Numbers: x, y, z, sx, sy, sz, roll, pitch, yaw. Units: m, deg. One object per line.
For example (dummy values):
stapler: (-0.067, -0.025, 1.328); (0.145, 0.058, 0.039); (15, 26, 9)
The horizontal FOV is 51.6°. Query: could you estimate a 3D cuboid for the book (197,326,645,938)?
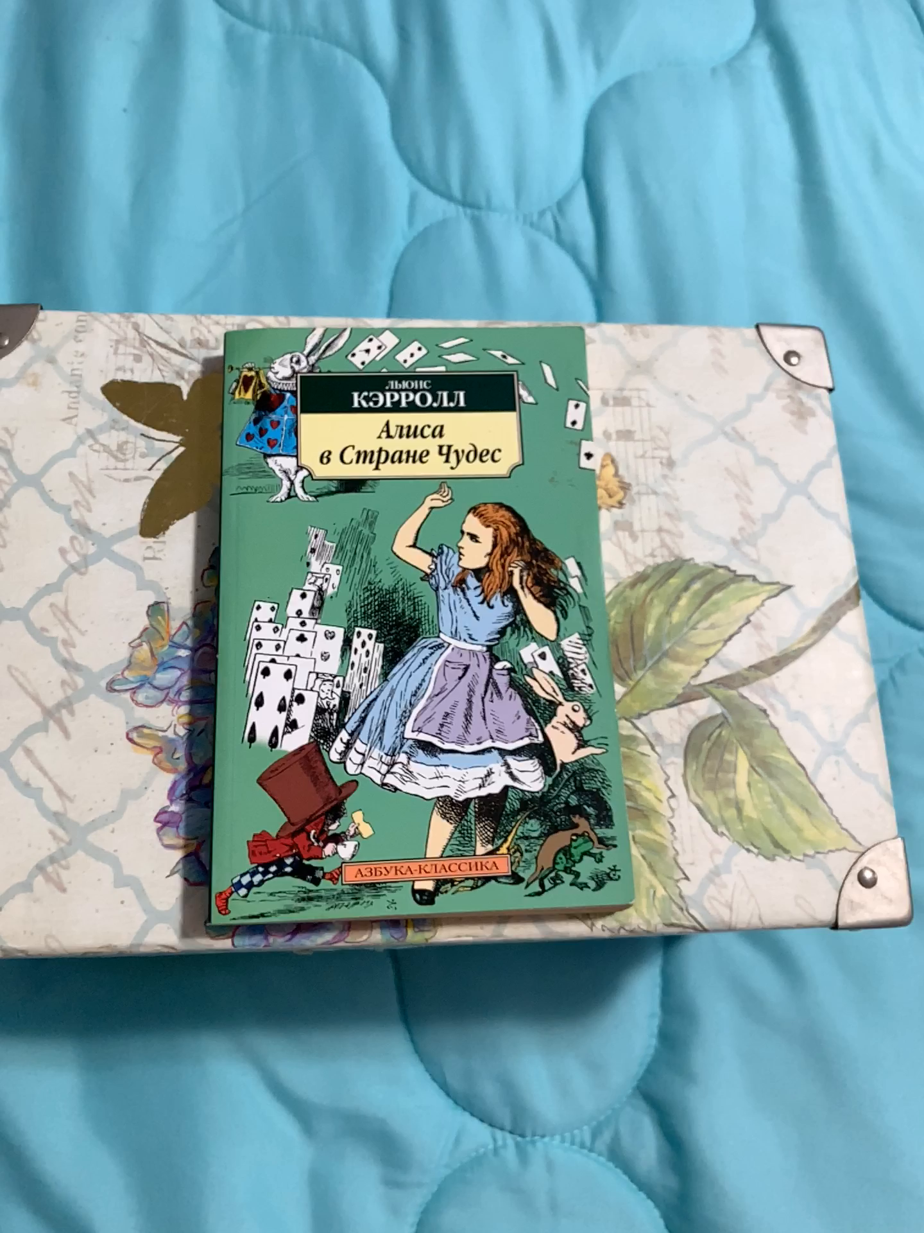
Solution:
book: (-0.015, -0.003, 0.286); (0.118, 0.018, 0.179); (-2, 74, -6)
